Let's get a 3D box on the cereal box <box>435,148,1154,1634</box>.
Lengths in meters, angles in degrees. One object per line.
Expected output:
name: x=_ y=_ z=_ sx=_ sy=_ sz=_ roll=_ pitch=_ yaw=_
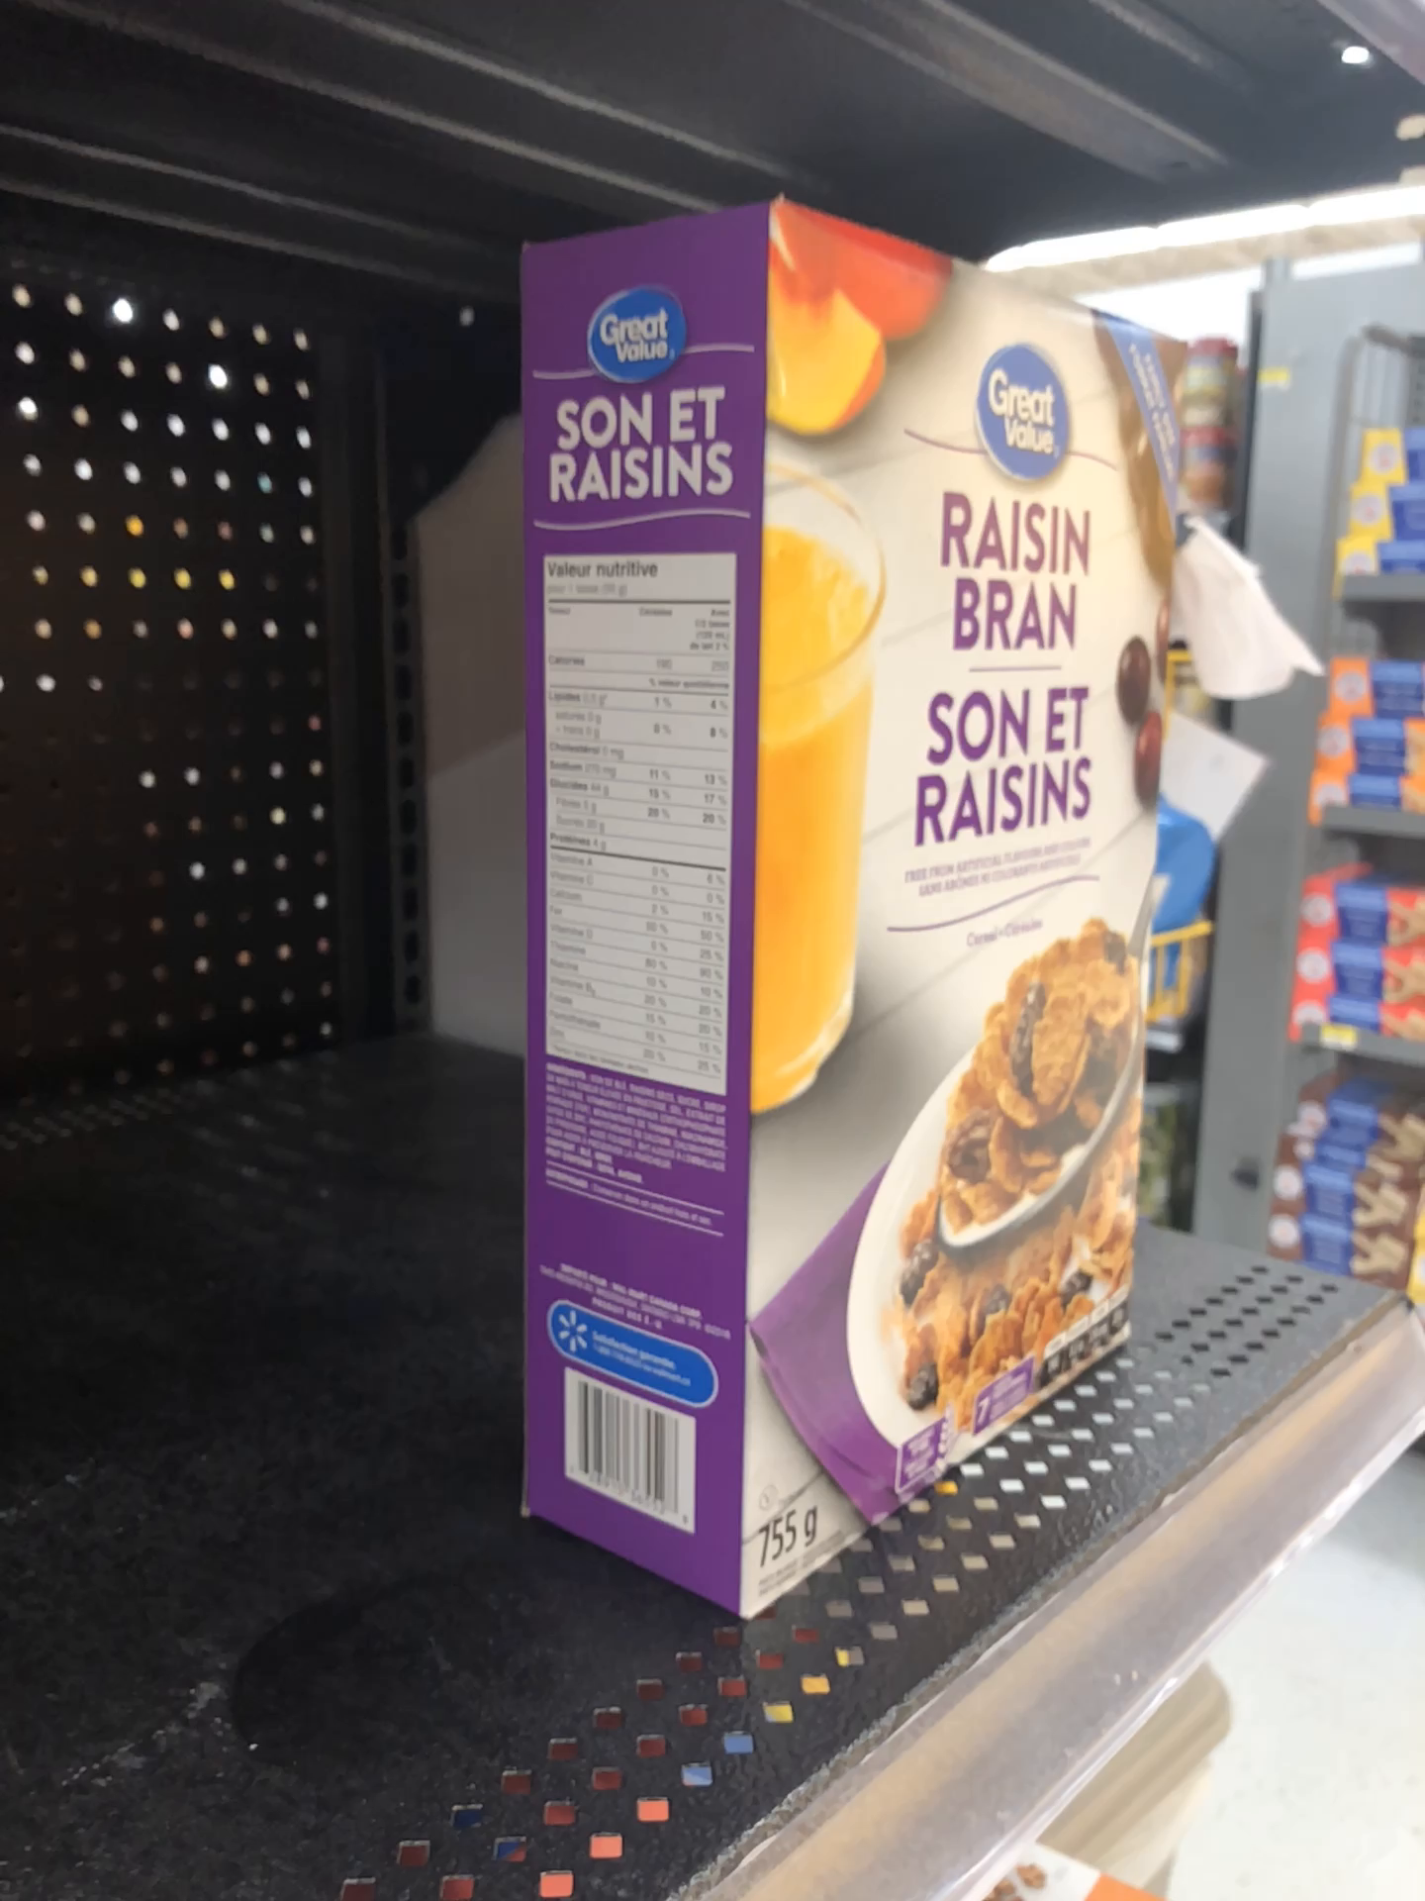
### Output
cereal box: x=0.031 y=-0.019 z=0.423 sx=0.070 sy=0.299 sz=0.210 roll=9 pitch=13 yaw=37
